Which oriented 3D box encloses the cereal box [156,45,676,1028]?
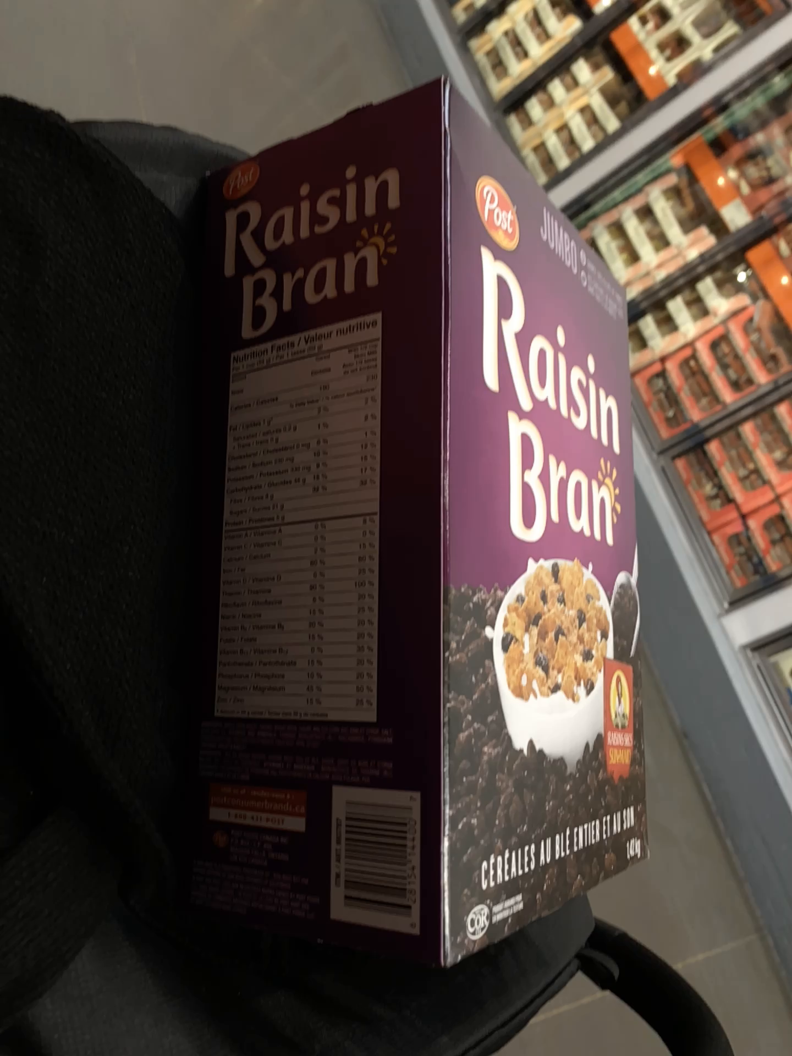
[{"bbox_3d":[0.028,0.009,0.372,0.211,0.109,0.290,16,73,-55],"label":"cereal box"}]
